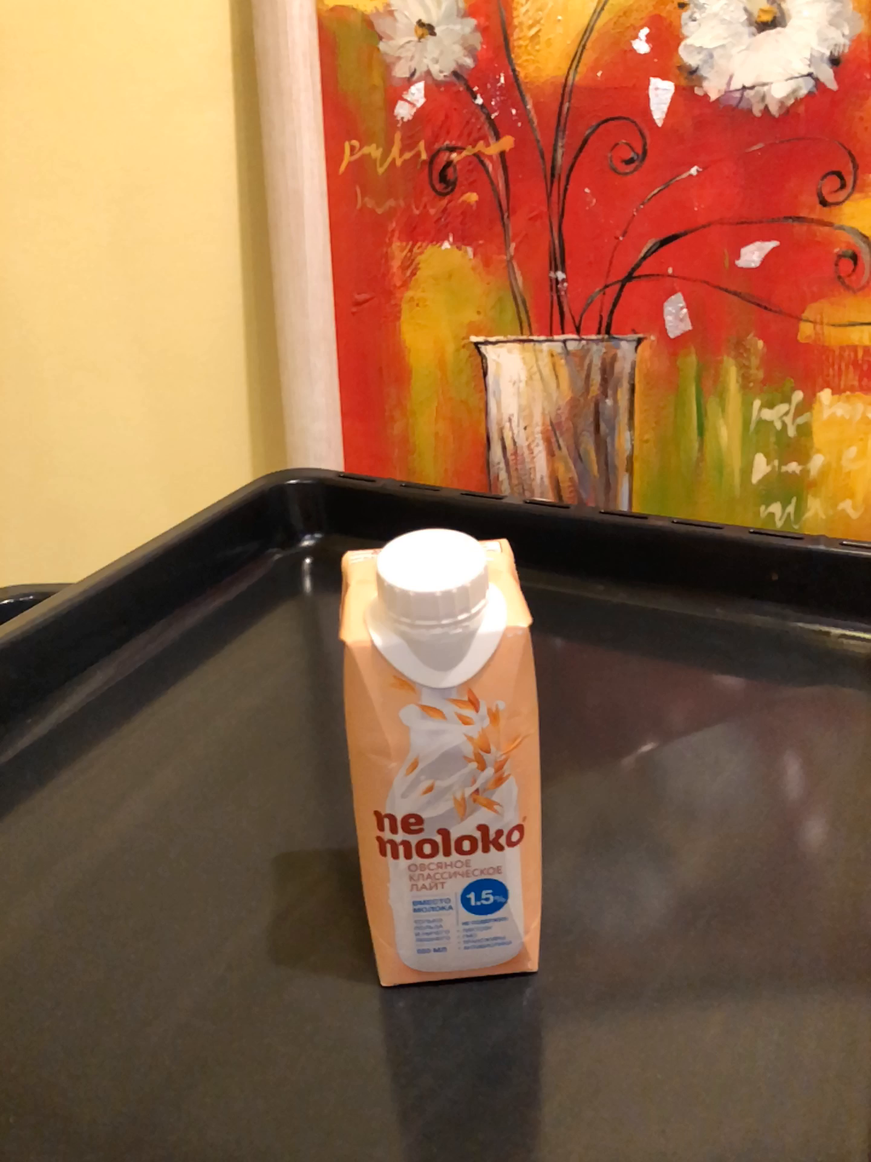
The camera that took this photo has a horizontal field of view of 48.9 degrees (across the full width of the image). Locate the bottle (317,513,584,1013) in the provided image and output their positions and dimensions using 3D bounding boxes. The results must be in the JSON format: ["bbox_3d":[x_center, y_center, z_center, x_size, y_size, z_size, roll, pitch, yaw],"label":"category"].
[{"bbox_3d":[0.003,0.050,0.267,0.060,0.119,0.060,-2,25,1],"label":"bottle"}]
